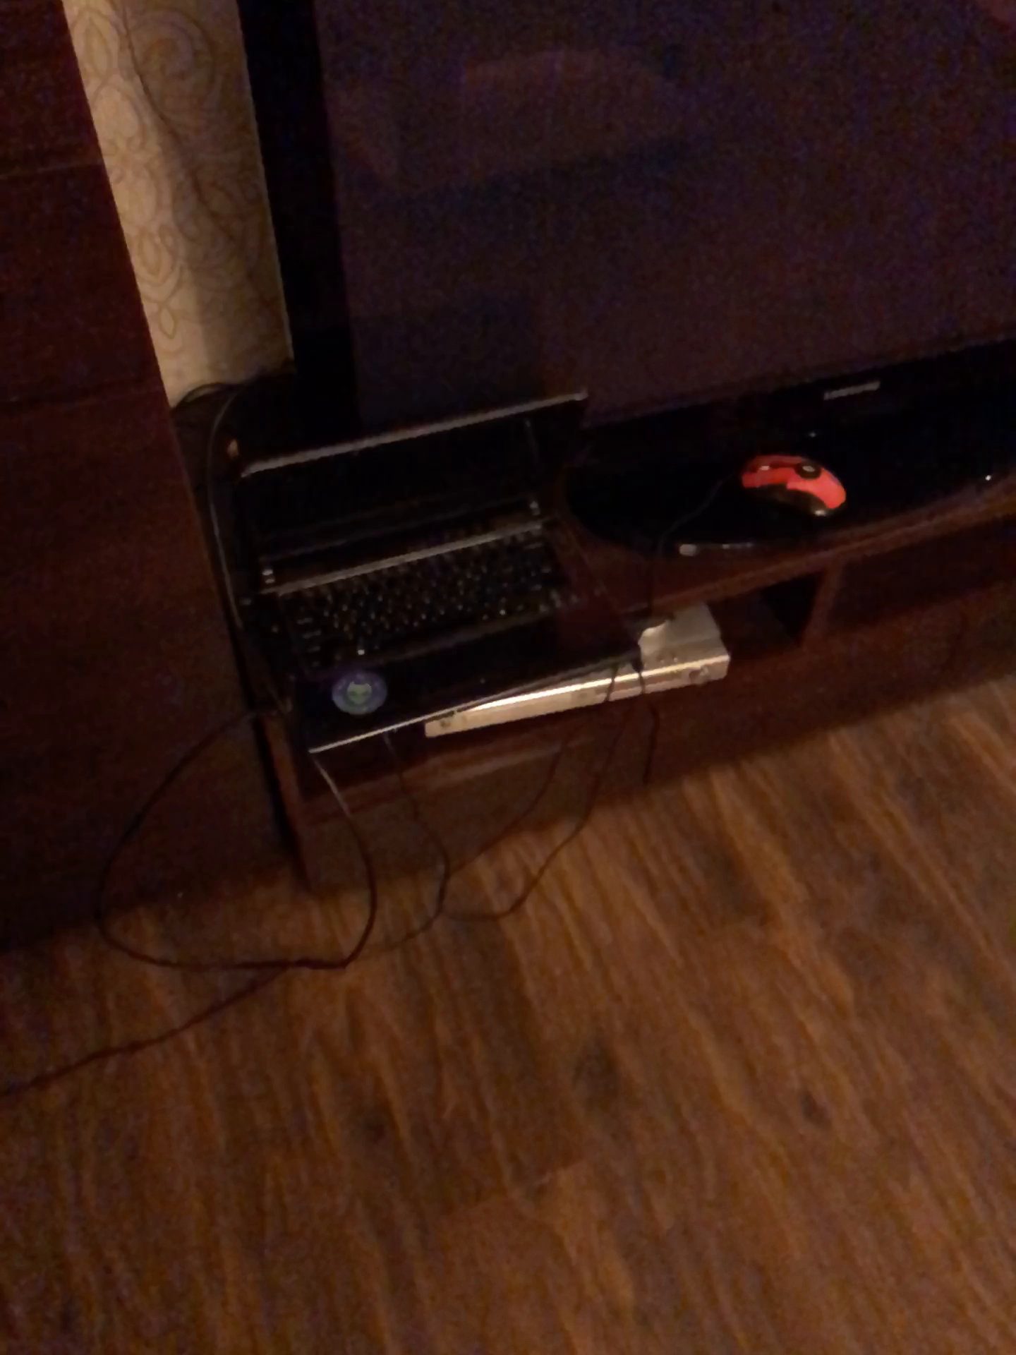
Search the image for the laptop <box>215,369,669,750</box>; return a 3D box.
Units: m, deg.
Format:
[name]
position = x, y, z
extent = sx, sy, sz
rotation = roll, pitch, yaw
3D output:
[laptop]
position = -0.061, -0.113, 1.023
extent = 0.336, 0.183, 0.200
rotation = -17, 52, -16
